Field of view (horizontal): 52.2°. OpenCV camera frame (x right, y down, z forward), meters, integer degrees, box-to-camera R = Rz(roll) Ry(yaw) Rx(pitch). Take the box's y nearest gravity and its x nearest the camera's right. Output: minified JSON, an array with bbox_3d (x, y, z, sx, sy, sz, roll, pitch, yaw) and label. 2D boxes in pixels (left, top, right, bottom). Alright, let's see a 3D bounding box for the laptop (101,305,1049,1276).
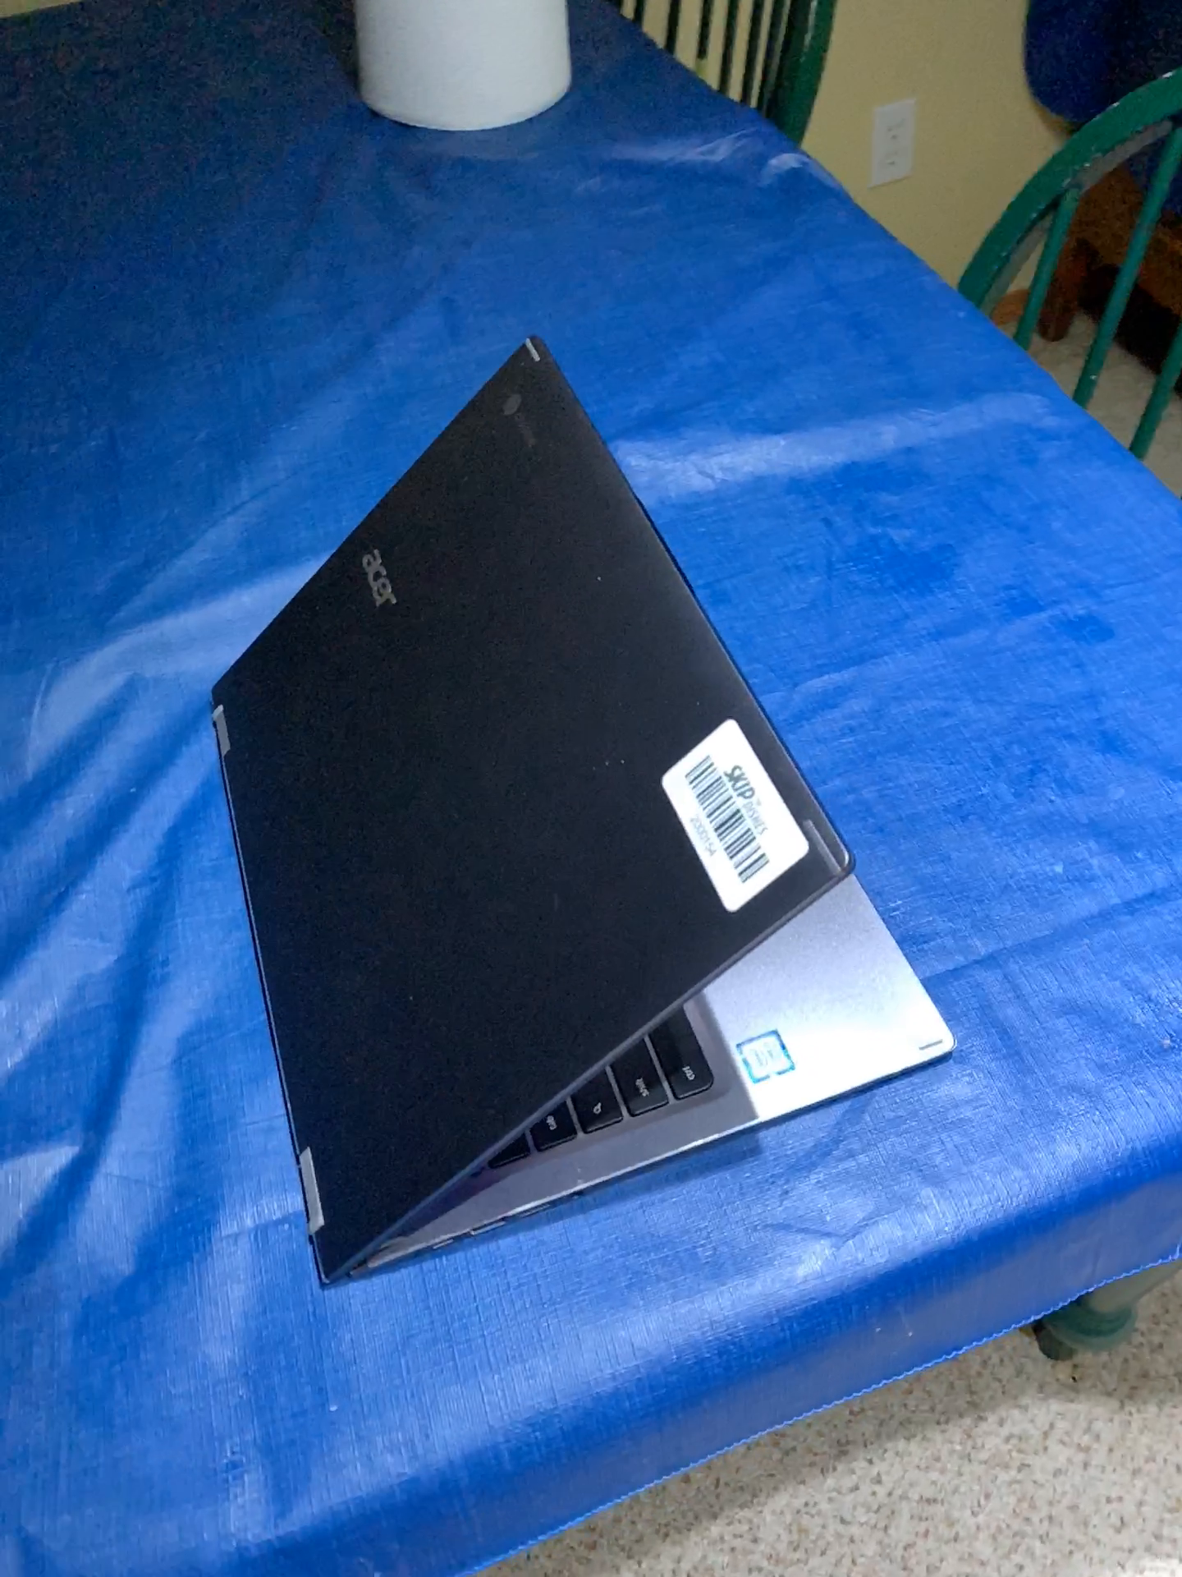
[{"bbox_3d":[-0.030,-0.021,0.481,0.249,0.151,0.305,-17,51,-9],"label":"laptop"}]
